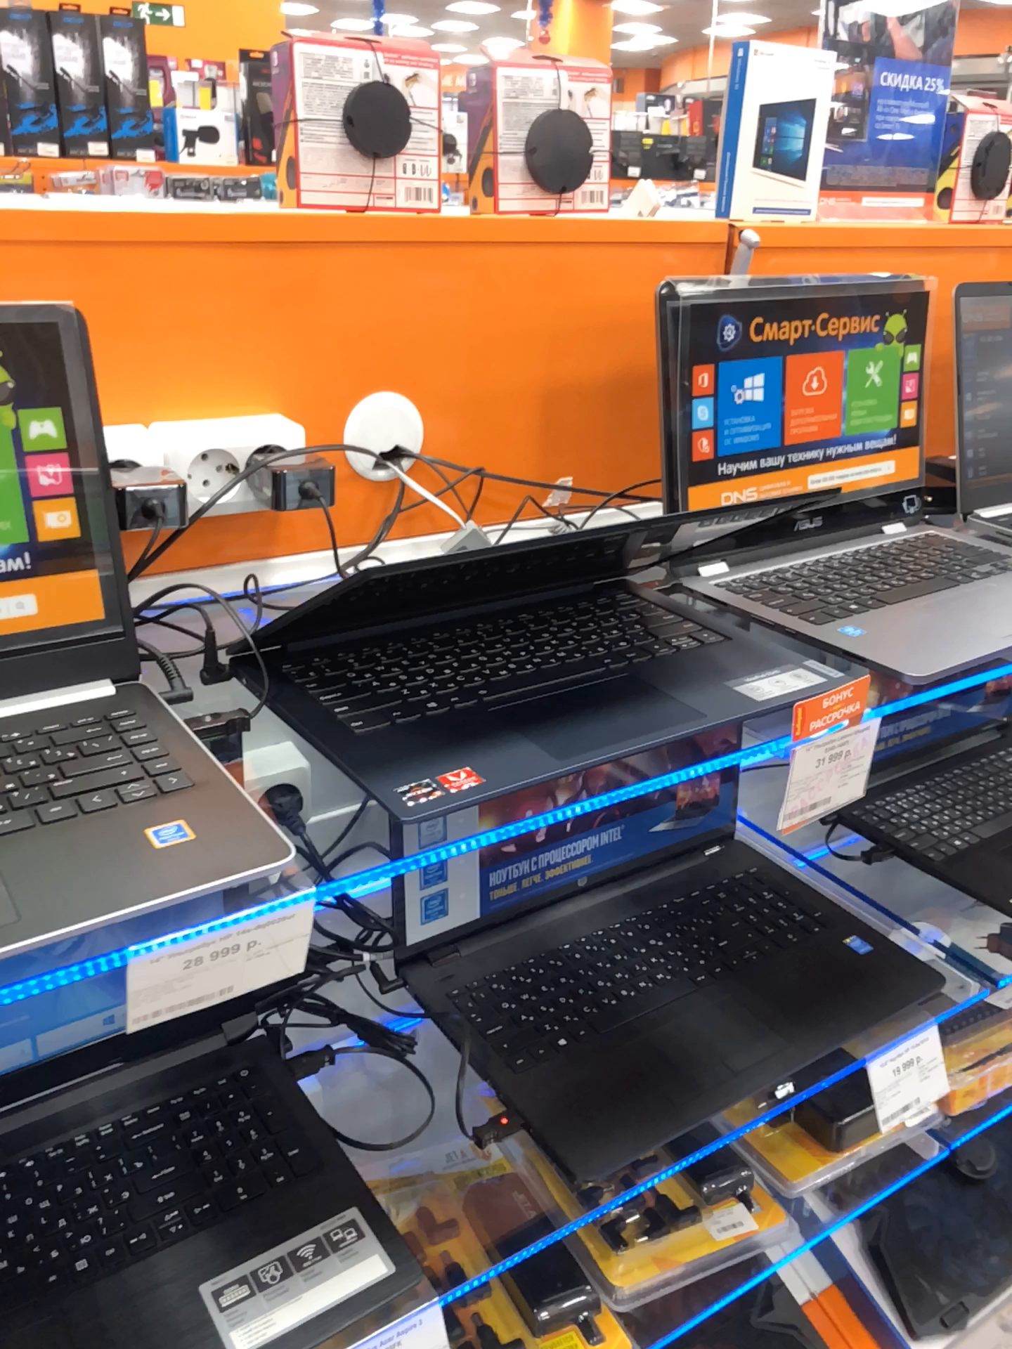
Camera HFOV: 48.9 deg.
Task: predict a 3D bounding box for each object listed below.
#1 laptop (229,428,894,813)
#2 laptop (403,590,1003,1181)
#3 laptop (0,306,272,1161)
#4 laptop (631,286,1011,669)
[{"bbox_3d":[0.028,-0.053,0.639,0.302,0.108,0.203,-14,28,-30],"label":"laptop"},{"bbox_3d":[0.136,0.122,0.843,0.355,0.226,0.258,-14,31,-31],"label":"laptop"},{"bbox_3d":[-0.287,-0.029,0.454,0.303,0.200,0.250,-13,28,-32],"label":"laptop"},{"bbox_3d":[0.313,-0.173,0.834,0.331,0.202,0.257,-15,29,-35],"label":"laptop"}]
